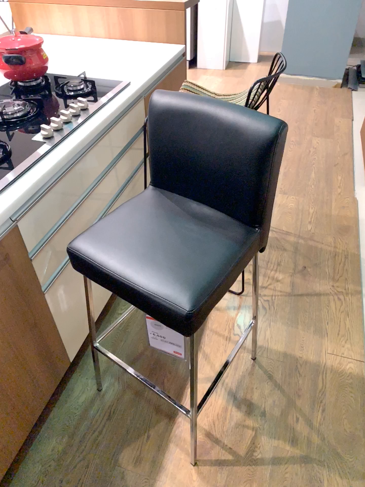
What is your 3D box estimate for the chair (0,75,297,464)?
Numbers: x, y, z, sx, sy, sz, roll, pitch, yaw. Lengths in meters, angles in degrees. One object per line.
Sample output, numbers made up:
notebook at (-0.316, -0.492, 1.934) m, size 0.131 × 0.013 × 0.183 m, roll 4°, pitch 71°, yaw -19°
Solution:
chair at (-0.071, 0.121, 1.178) m, size 0.501 × 1.026 × 0.521 m, roll 23°, pitch 47°, yaw 25°
